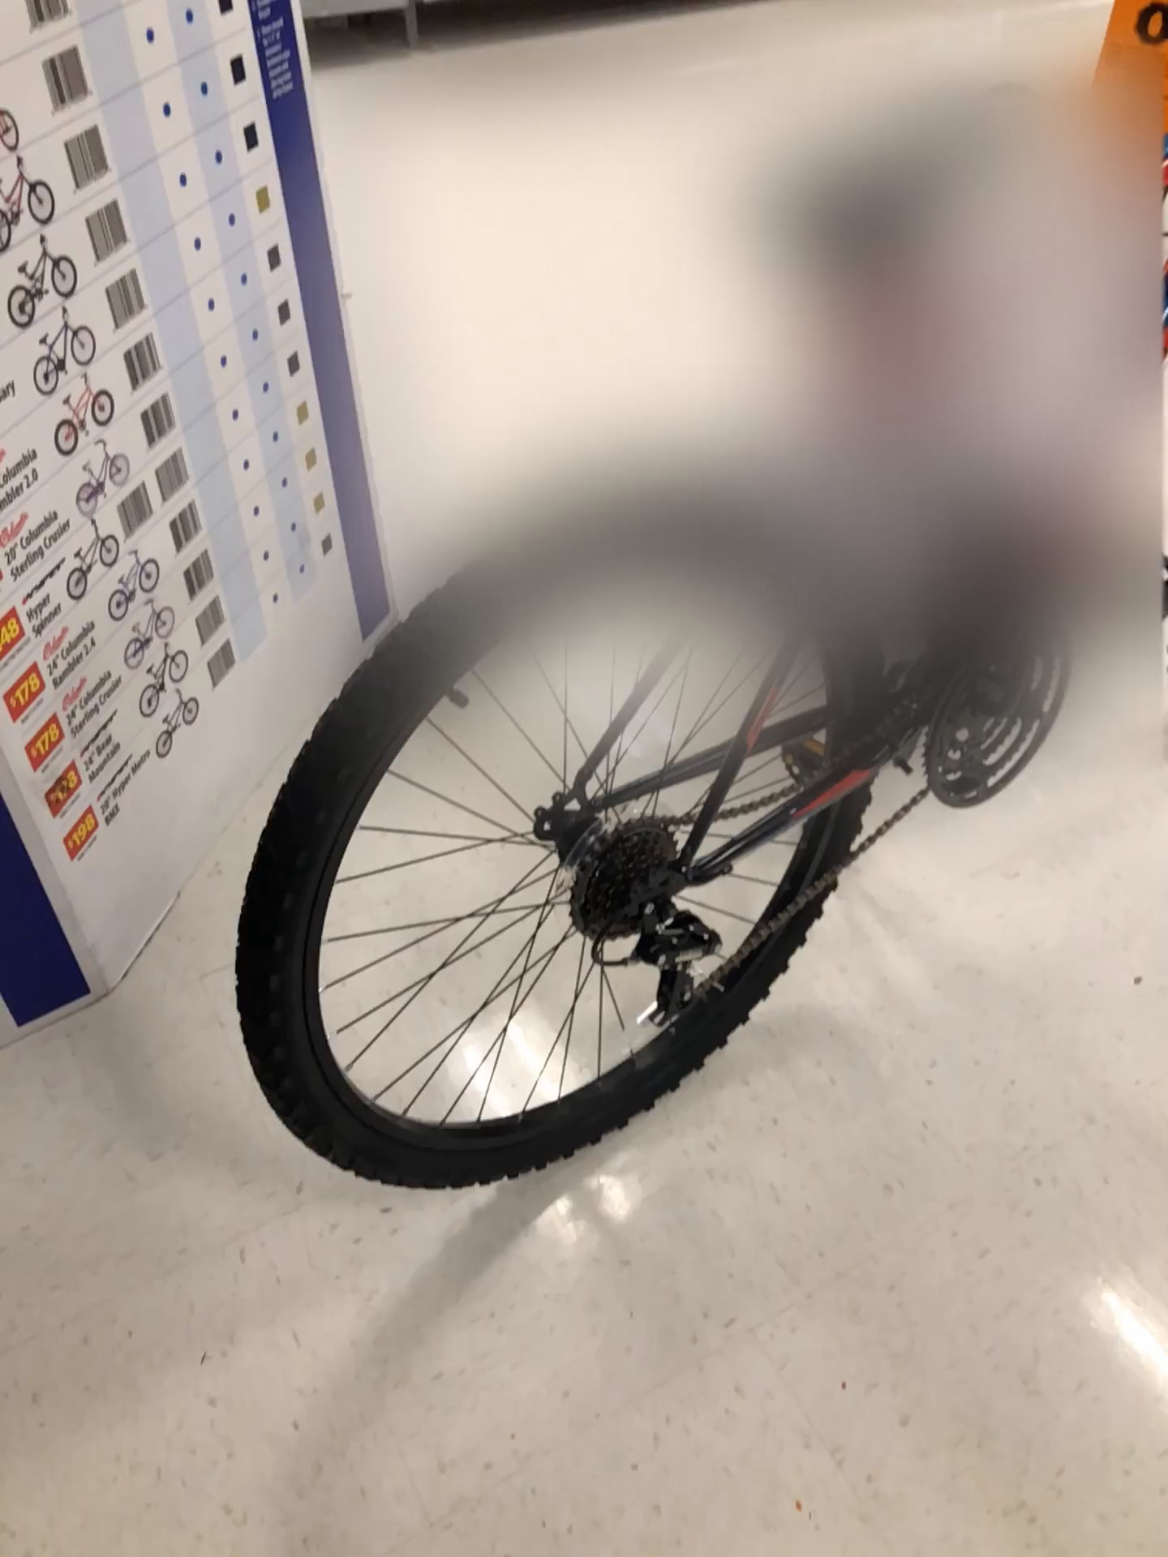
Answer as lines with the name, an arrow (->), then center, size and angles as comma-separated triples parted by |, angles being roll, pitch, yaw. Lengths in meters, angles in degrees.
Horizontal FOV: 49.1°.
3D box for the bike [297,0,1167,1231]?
bike -> 0.517, -0.371, 1.243 | 1.287, 0.942, 0.561 | -31, 52, -26
